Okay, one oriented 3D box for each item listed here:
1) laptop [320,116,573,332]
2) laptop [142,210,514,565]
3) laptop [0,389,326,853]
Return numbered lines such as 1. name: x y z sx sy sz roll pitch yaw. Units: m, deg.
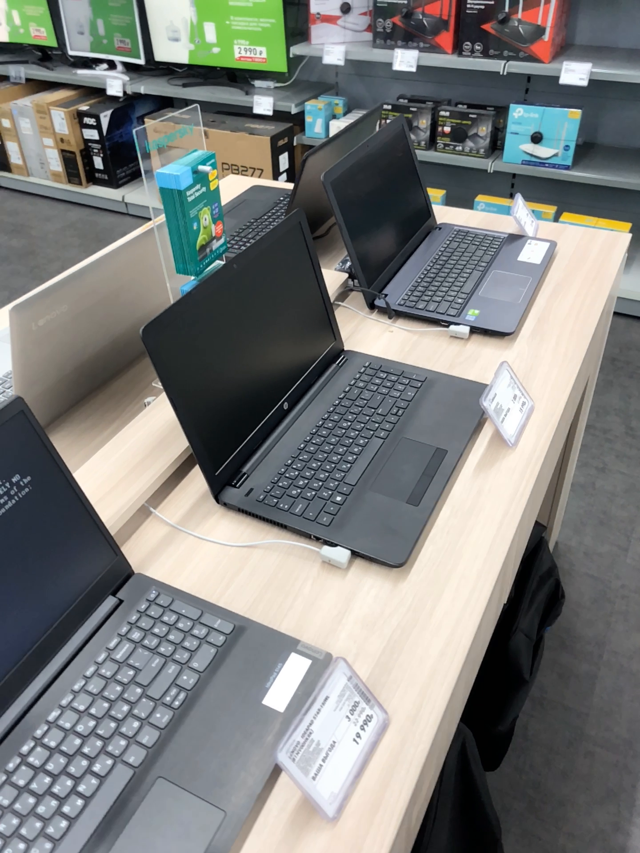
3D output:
1. laptop: 0.234 -0.383 1.264 0.333 0.209 0.371 15 41 18
2. laptop: 0.032 -0.079 0.890 0.311 0.216 0.368 16 42 20
3. laptop: -0.209 0.190 0.555 0.327 0.213 0.333 16 41 20
